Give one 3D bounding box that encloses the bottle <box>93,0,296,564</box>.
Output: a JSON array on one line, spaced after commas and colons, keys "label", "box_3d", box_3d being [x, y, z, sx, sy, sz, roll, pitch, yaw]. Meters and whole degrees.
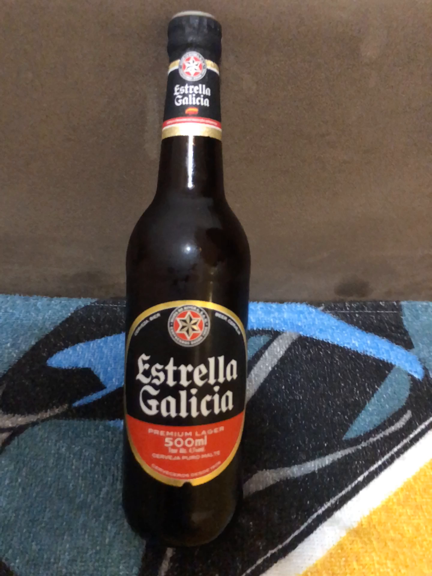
[{"label": "bottle", "box_3d": [-0.013, -0.010, 0.252, 0.080, 0.270, 0.080, 2, 4, 0]}]
